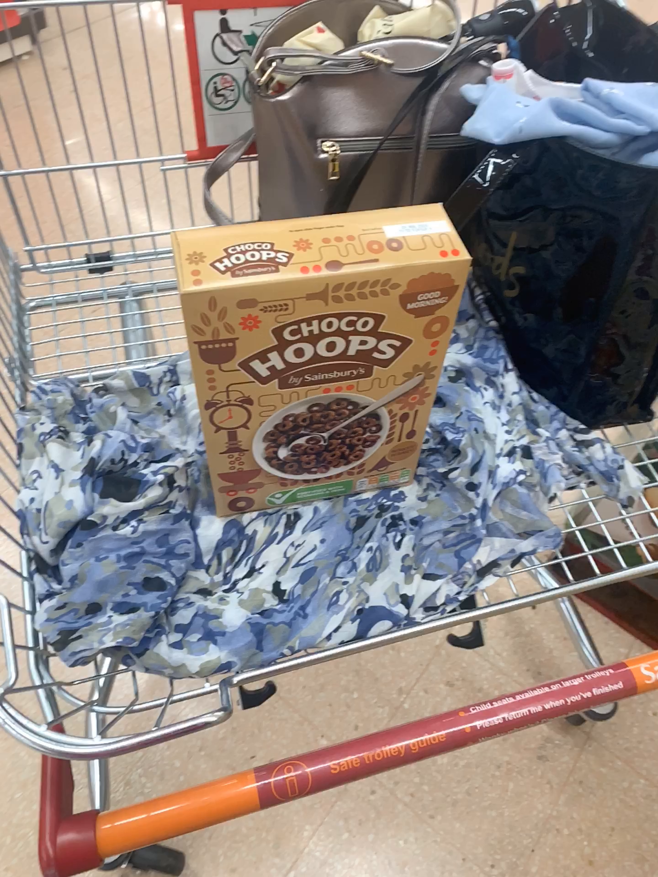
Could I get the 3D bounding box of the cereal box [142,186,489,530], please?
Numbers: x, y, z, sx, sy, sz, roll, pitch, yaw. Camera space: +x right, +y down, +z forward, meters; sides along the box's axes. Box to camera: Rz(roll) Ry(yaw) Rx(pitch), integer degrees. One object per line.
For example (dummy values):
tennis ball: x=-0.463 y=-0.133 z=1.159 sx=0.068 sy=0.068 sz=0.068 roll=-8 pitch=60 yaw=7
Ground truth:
cereal box: x=-0.020 y=-0.049 z=0.562 sx=0.220 sy=0.297 sz=0.071 roll=-9 pitch=54 yaw=-12
